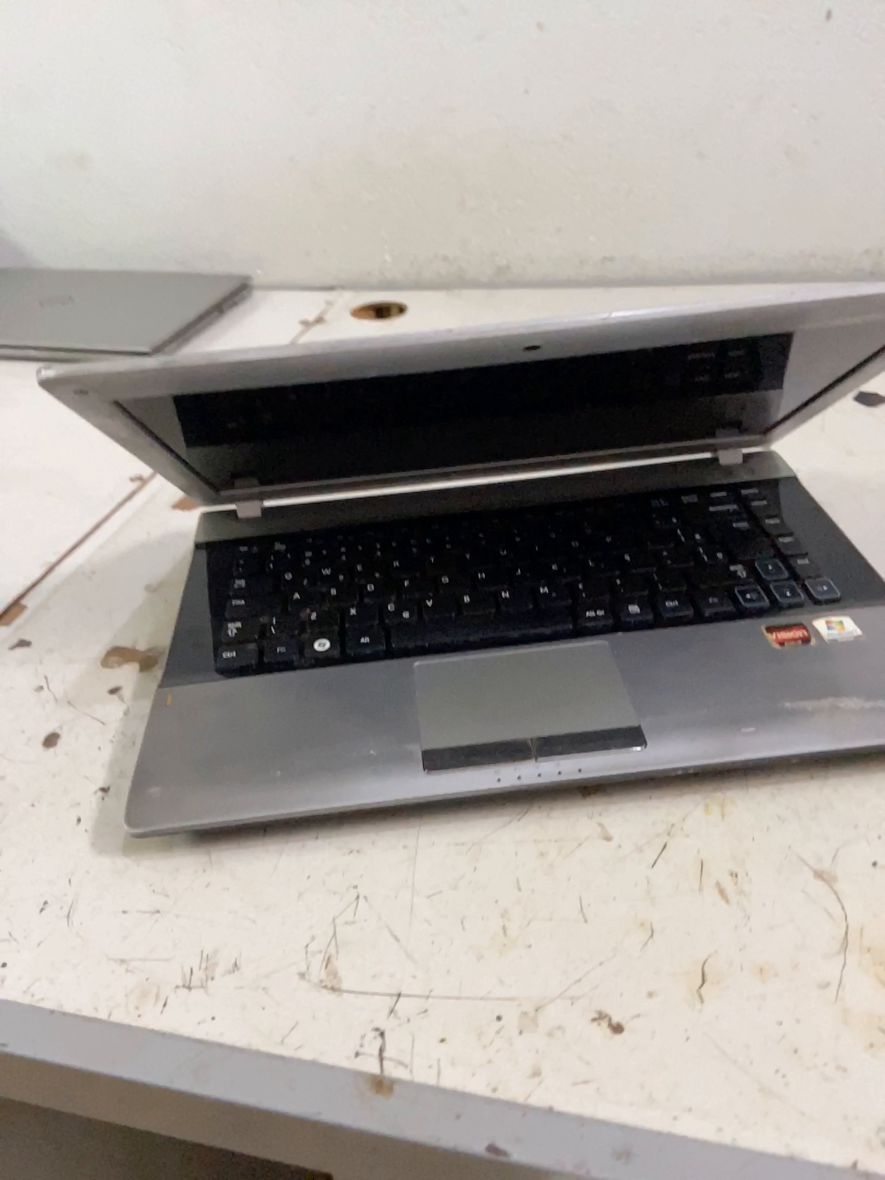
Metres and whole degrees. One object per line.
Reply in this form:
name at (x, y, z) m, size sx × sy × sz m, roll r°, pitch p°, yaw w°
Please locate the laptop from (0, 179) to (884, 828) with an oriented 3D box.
laptop at (0.034, -0.059, 0.403) m, size 0.344 × 0.150 × 0.234 m, roll -7°, pitch 35°, yaw -2°
